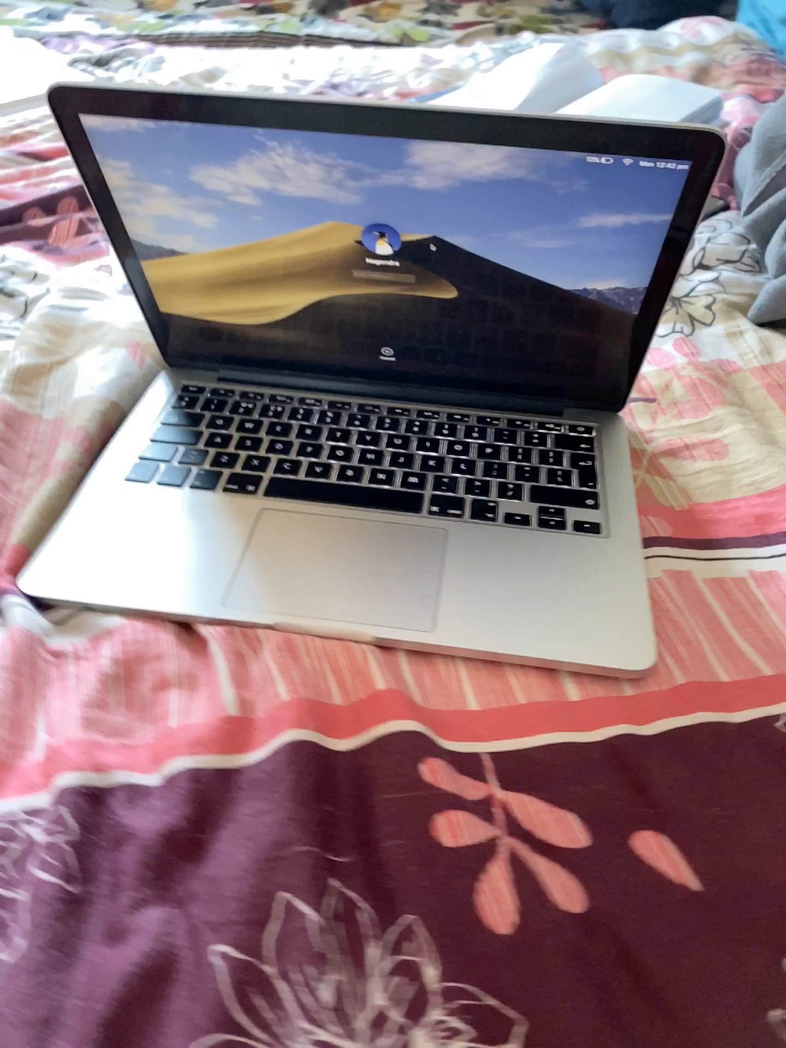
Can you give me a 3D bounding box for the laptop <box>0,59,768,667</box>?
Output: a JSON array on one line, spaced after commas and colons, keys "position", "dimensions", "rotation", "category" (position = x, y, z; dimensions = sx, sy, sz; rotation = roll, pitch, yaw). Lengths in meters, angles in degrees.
[{"position": [-0.022, -0.089, 0.395], "dimensions": [0.303, 0.191, 0.203], "rotation": [6, 43, 7], "category": "laptop"}]
